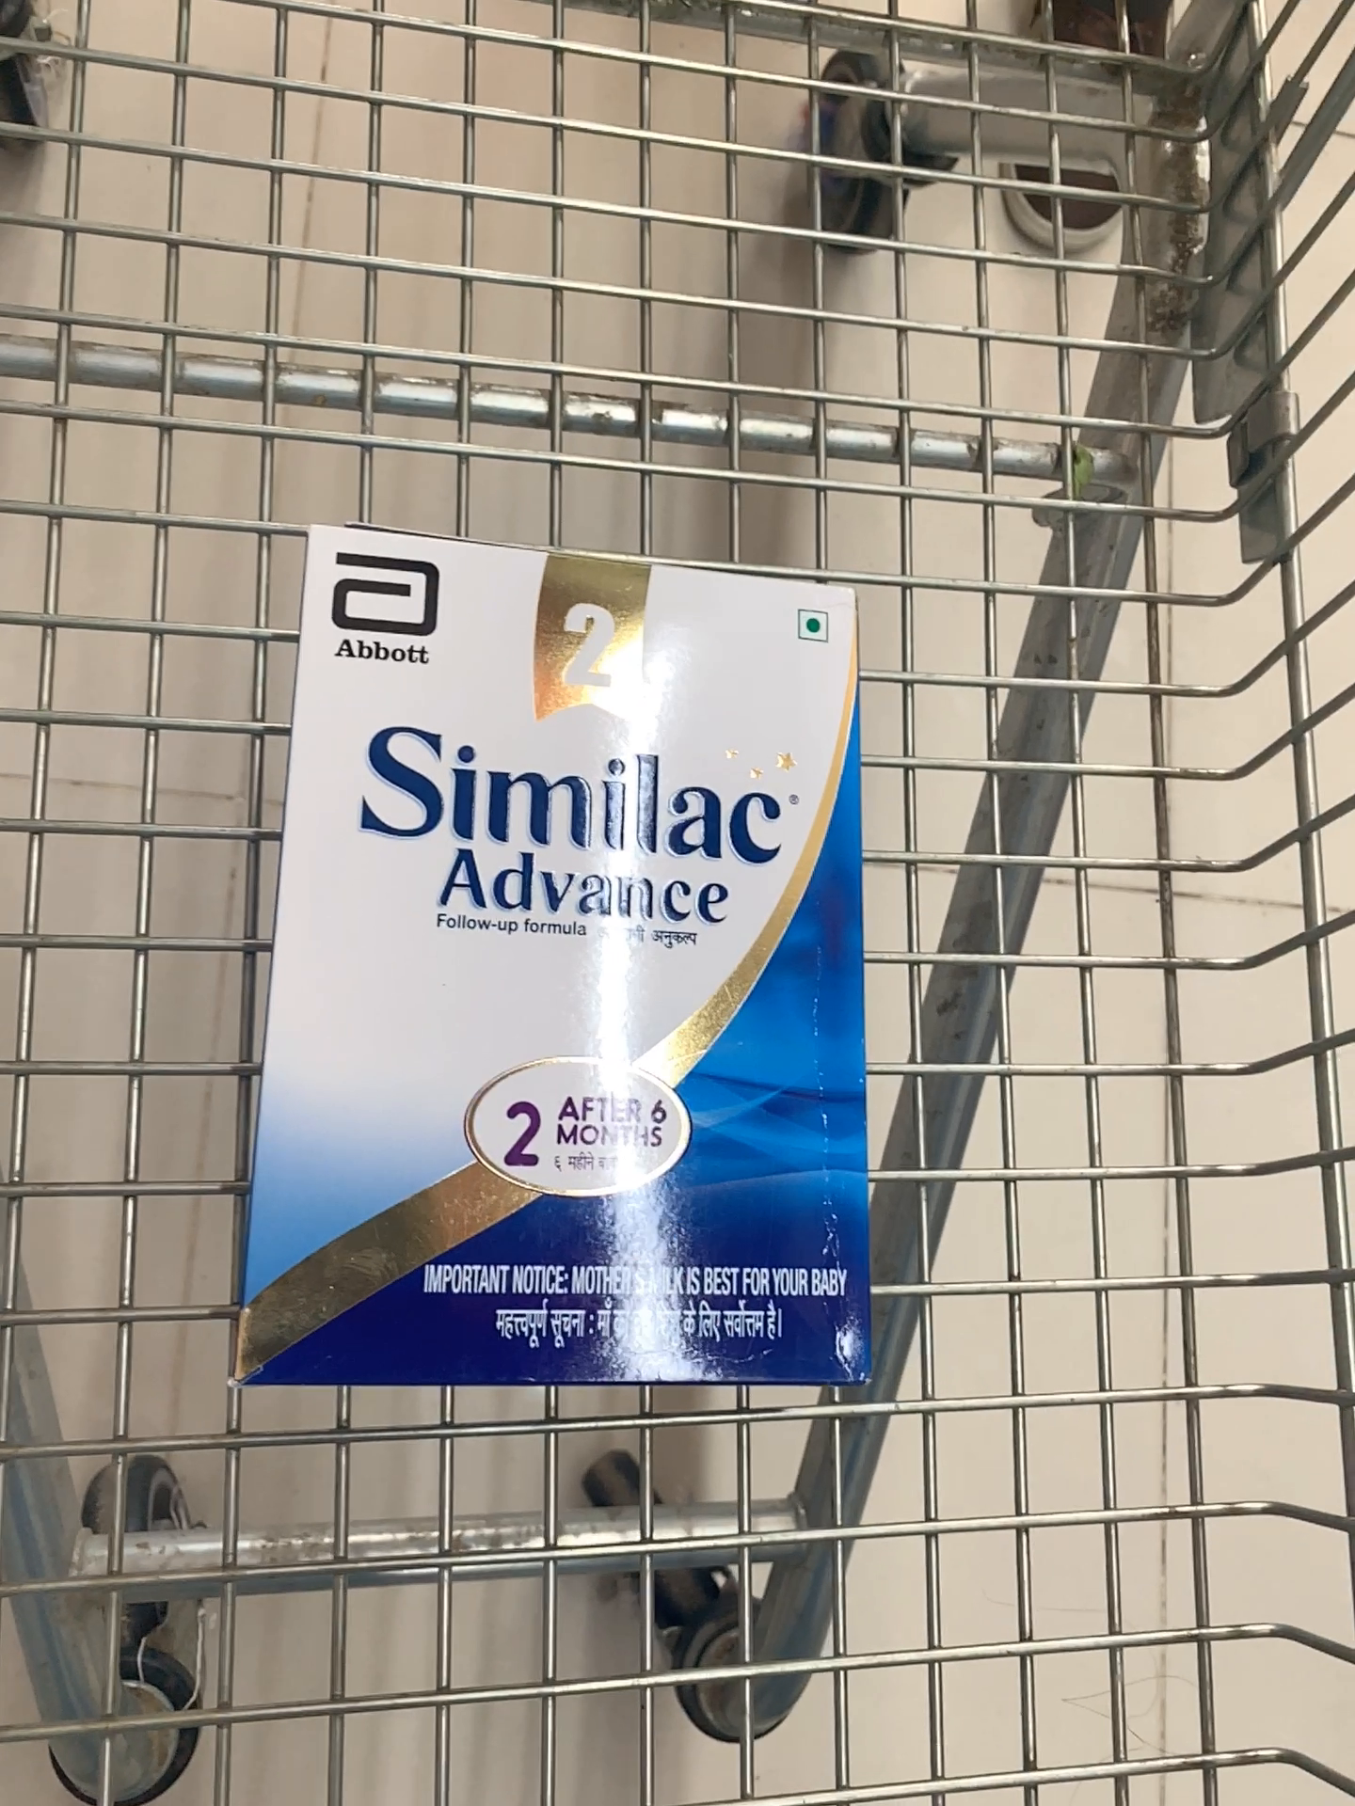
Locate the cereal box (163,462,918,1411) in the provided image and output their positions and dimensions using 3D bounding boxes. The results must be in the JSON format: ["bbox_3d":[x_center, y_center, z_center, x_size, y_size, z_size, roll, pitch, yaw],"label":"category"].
[{"bbox_3d":[-0.027,0.011,0.329,0.150,0.060,0.200,4,75,-11],"label":"cereal box"}]
